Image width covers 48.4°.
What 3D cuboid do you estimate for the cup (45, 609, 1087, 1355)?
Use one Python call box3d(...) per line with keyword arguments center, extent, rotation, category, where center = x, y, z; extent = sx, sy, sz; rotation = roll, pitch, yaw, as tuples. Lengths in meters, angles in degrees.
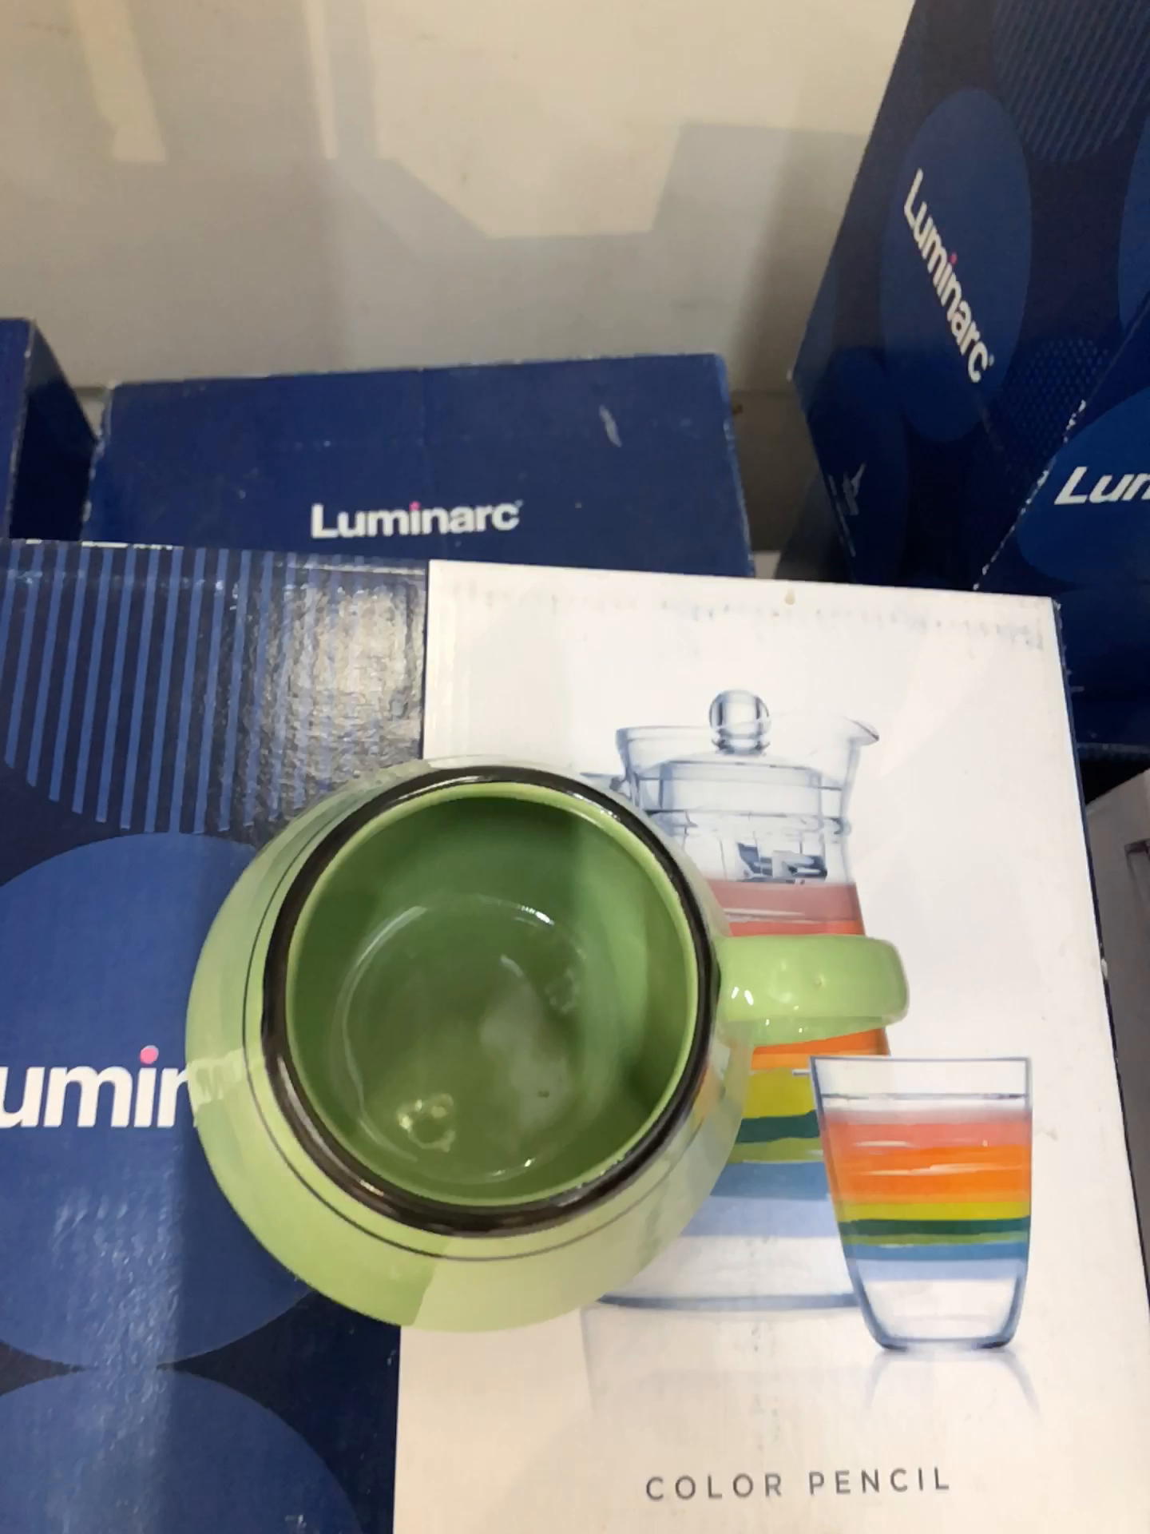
box3d(center=(-0.001, 0.042, 0.227), extent=(0.140, 0.070, 0.110), rotation=(3, 65, -3), category="cup")
